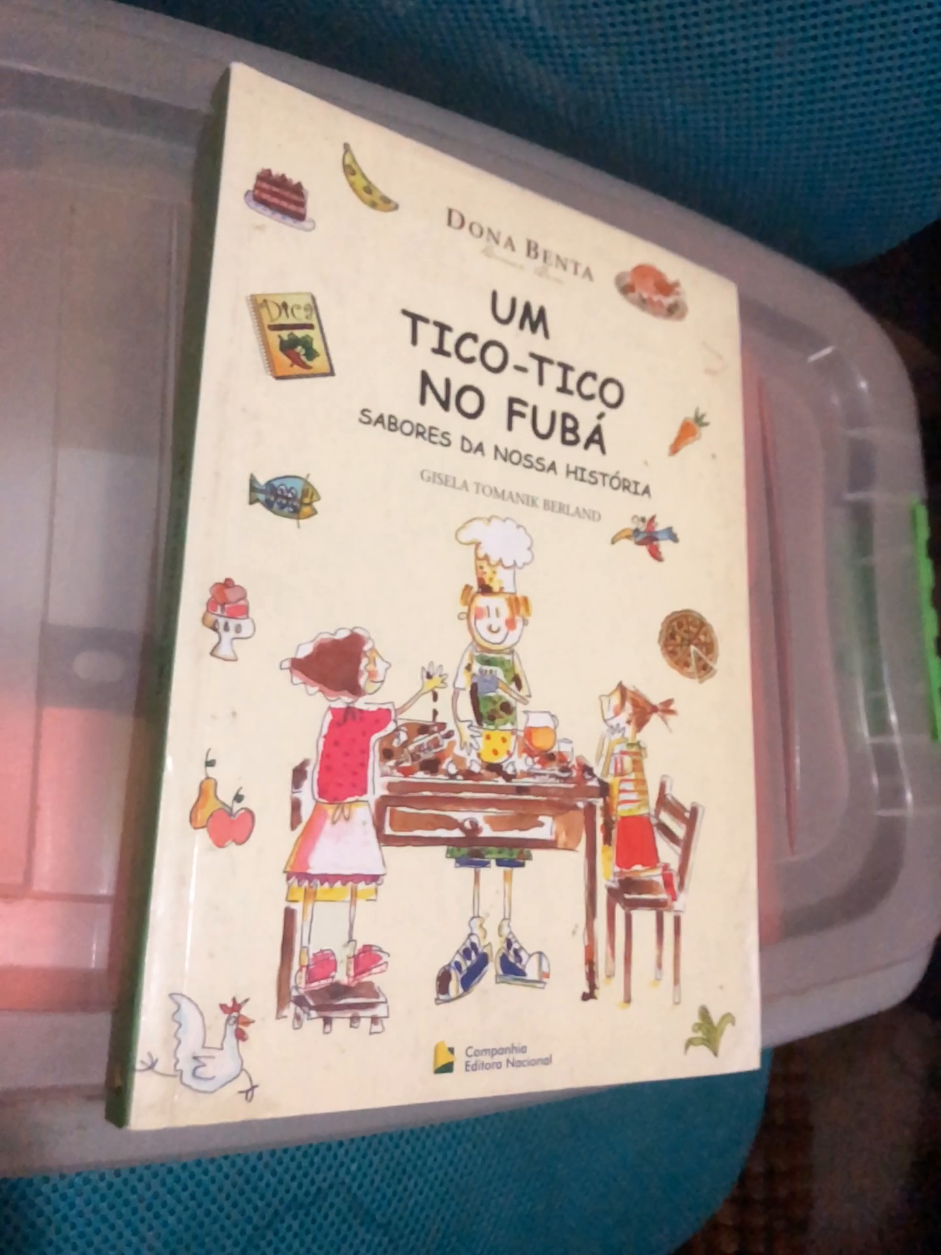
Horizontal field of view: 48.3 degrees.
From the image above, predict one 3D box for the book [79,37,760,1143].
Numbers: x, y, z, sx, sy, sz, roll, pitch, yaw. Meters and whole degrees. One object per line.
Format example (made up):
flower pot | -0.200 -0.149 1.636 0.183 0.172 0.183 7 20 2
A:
book | 0.005 -0.006 0.268 0.172 0.020 0.232 10 76 -32
